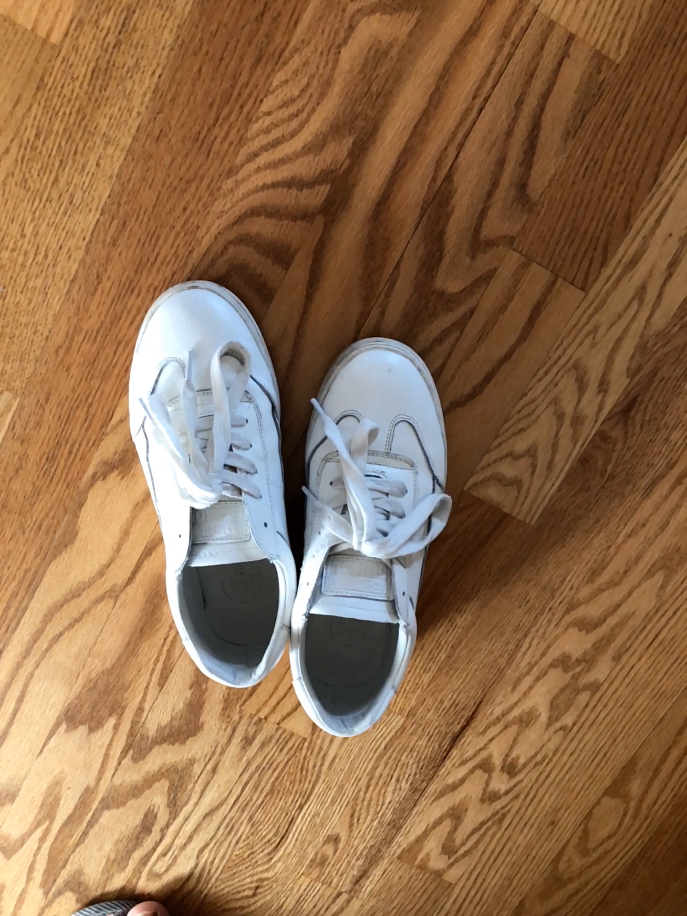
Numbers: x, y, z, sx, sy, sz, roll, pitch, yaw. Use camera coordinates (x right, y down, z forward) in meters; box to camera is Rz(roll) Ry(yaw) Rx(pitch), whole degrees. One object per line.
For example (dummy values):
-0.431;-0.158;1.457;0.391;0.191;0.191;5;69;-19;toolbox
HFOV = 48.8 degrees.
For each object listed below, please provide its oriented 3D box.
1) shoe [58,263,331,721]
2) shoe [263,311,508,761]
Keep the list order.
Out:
-0.080;0.018;0.483;0.102;0.104;0.260;-9;107;1;shoe
0.017;0.048;0.492;0.102;0.107;0.260;8;107;-4;shoe
